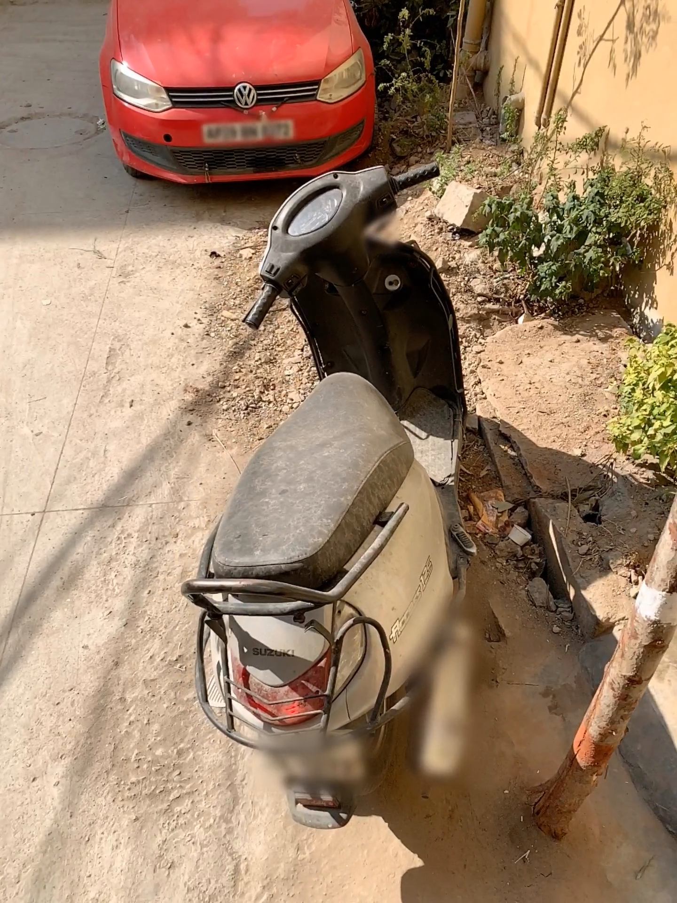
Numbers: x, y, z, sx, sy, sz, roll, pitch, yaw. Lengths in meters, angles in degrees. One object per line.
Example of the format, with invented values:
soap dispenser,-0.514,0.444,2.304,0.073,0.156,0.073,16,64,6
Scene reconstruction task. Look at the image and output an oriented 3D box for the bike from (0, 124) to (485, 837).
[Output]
bike,-0.013,-0.057,1.740,0.549,1.001,1.515,8,42,8
